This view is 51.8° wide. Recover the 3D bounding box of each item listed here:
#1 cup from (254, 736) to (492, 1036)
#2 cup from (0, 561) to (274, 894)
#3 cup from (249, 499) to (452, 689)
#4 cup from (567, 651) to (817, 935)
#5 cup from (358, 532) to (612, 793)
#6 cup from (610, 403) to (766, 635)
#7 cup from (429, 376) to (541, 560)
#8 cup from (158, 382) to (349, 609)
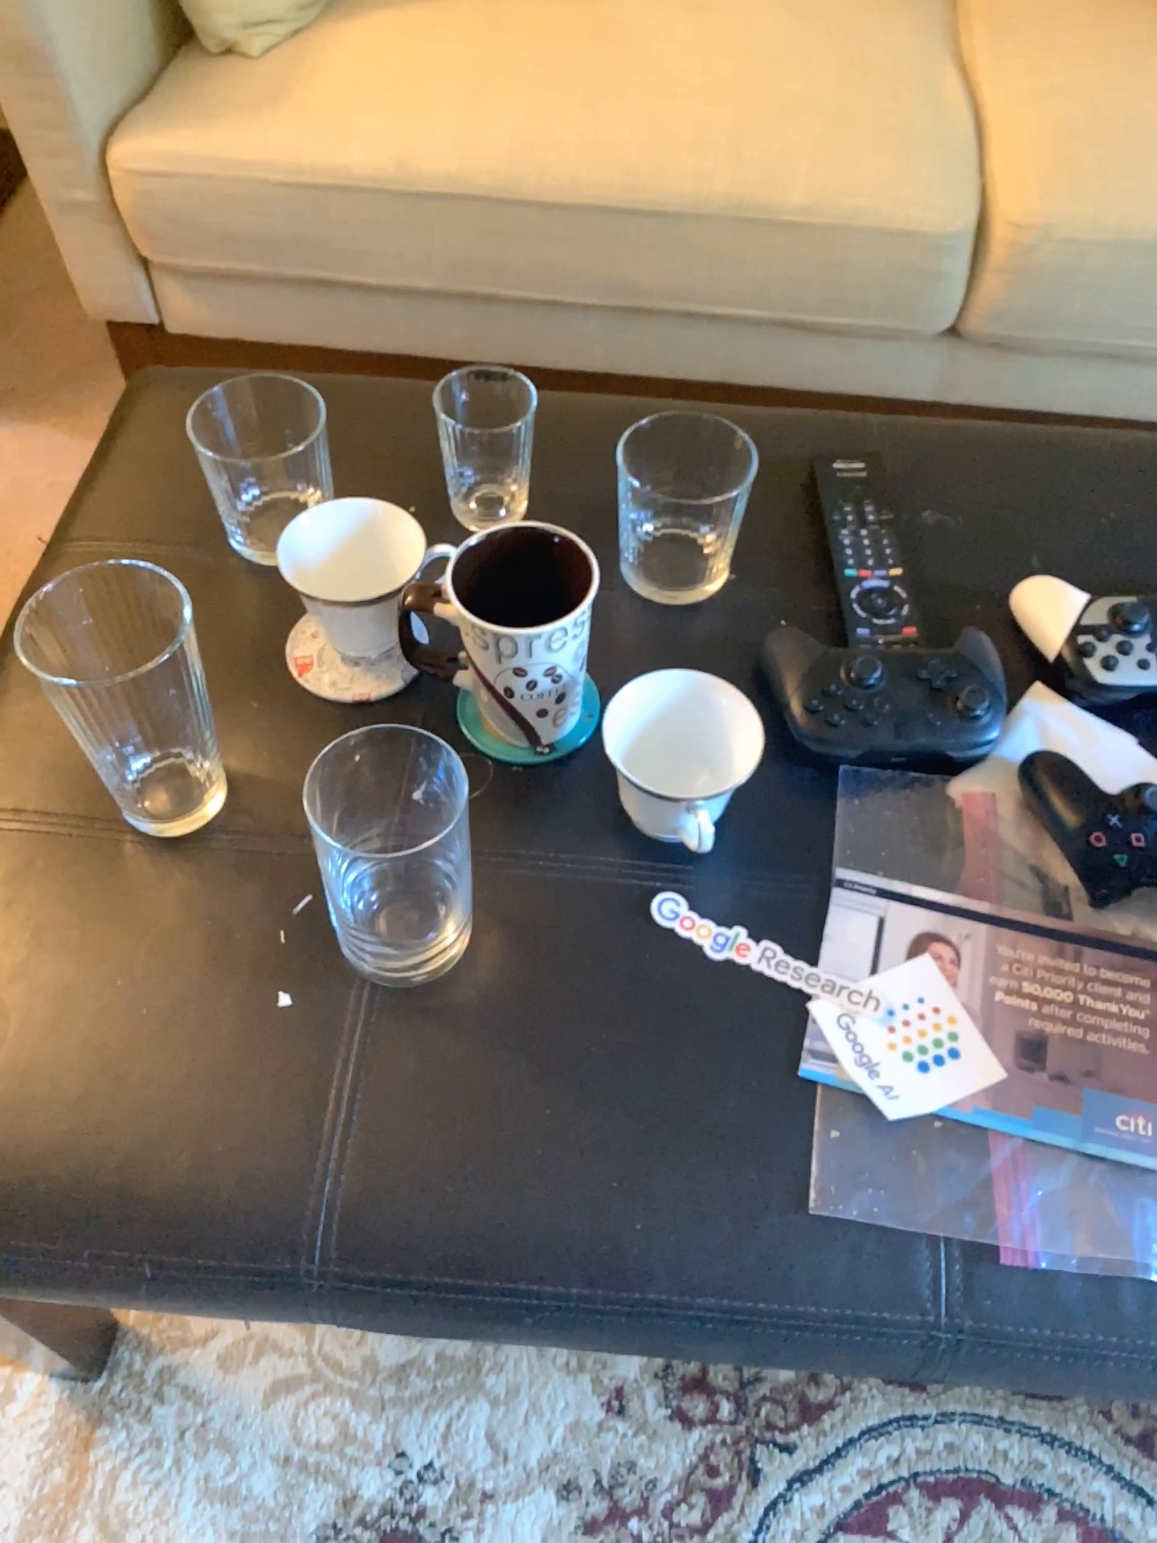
[{"bbox_3d":[-0.094,0.061,0.595,0.090,0.139,0.090,0,55,-1],"label":"cup"},{"bbox_3d":[-0.243,-0.018,0.672,0.090,0.189,0.090,0,55,-1],"label":"cup"},{"bbox_3d":[-0.136,-0.110,0.738,0.110,0.070,0.090,-2,55,-2],"label":"cup"},{"bbox_3d":[0.059,0.011,0.674,0.090,0.080,0.110,-23,59,-16],"label":"cup"},{"bbox_3d":[-0.050,-0.062,0.708,0.130,0.120,0.090,4,55,2],"label":"cup"},{"bbox_3d":[0.068,-0.166,0.793,0.090,0.120,0.090,0,55,-1],"label":"cup"},{"bbox_3d":[-0.064,-0.209,0.825,0.070,0.100,0.070,0,55,-1],"label":"cup"},{"bbox_3d":[-0.216,-0.186,0.815,0.090,0.120,0.090,0,55,-1],"label":"cup"}]
